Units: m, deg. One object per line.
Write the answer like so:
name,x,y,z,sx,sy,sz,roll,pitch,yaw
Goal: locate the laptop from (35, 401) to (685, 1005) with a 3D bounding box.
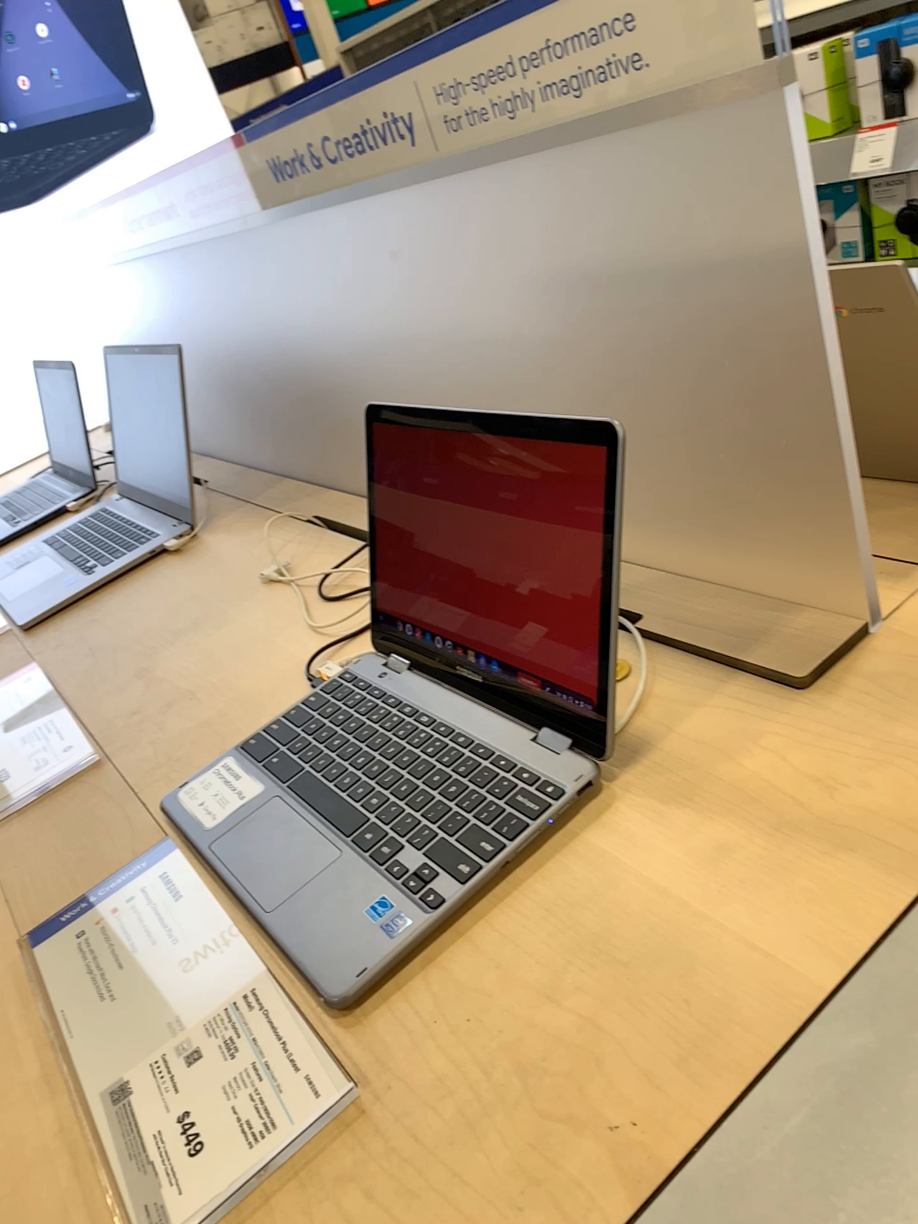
laptop,-0.069,0.019,0.602,0.274,0.183,0.275,-35,30,-23
